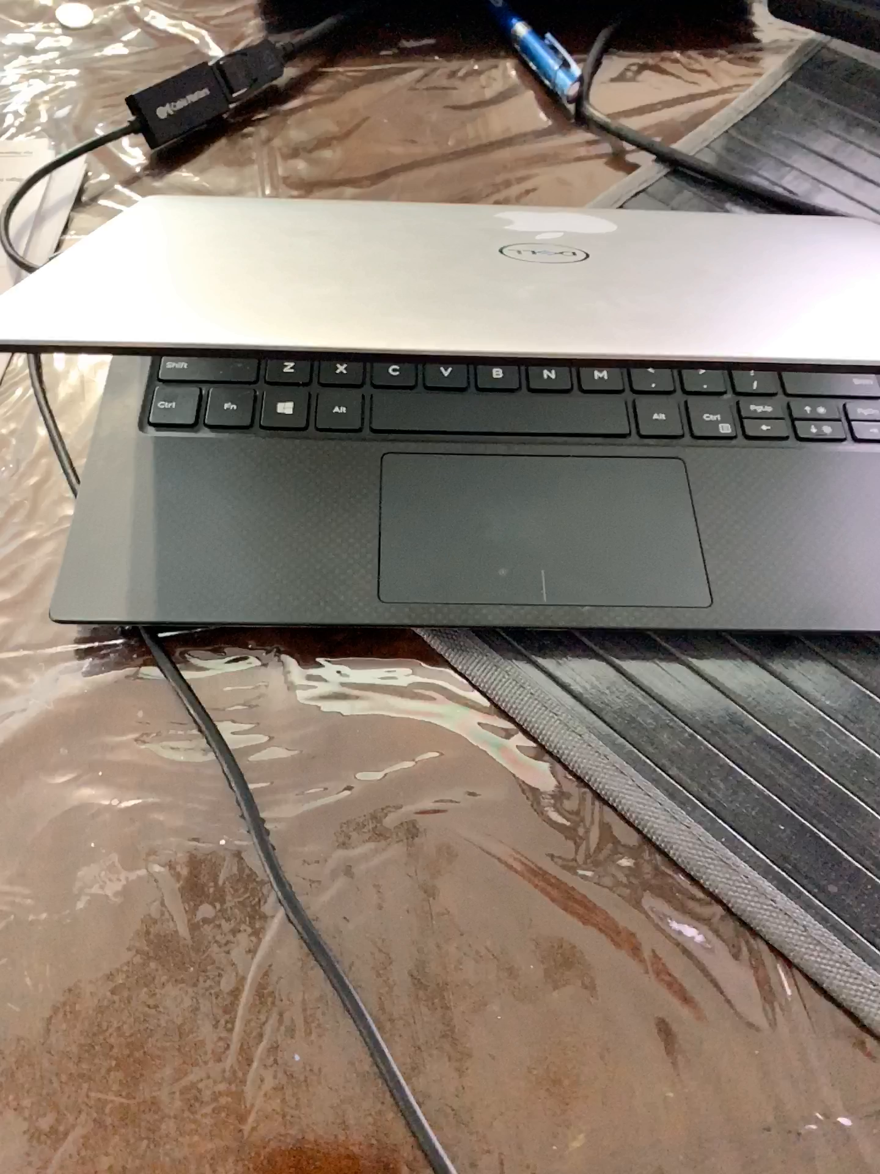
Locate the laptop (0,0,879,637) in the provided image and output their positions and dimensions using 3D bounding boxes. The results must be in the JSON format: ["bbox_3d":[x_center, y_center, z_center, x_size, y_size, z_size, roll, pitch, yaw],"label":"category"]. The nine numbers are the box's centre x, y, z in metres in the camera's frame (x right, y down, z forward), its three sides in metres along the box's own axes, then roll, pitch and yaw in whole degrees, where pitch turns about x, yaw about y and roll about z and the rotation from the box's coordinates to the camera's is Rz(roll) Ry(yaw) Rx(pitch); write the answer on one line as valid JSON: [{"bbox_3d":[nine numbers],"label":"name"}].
[{"bbox_3d":[0.034,-0.089,0.282,0.290,0.085,0.185,1,57,-2],"label":"laptop"}]
